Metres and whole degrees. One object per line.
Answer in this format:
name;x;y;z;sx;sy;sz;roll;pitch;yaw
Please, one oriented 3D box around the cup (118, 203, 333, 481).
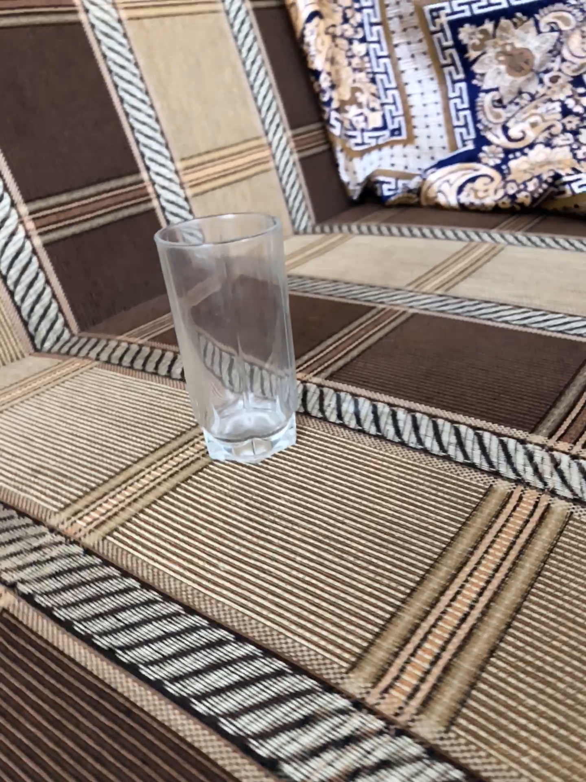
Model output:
cup;-0.035;-0.033;0.377;0.077;0.130;0.075;-5;26;2
